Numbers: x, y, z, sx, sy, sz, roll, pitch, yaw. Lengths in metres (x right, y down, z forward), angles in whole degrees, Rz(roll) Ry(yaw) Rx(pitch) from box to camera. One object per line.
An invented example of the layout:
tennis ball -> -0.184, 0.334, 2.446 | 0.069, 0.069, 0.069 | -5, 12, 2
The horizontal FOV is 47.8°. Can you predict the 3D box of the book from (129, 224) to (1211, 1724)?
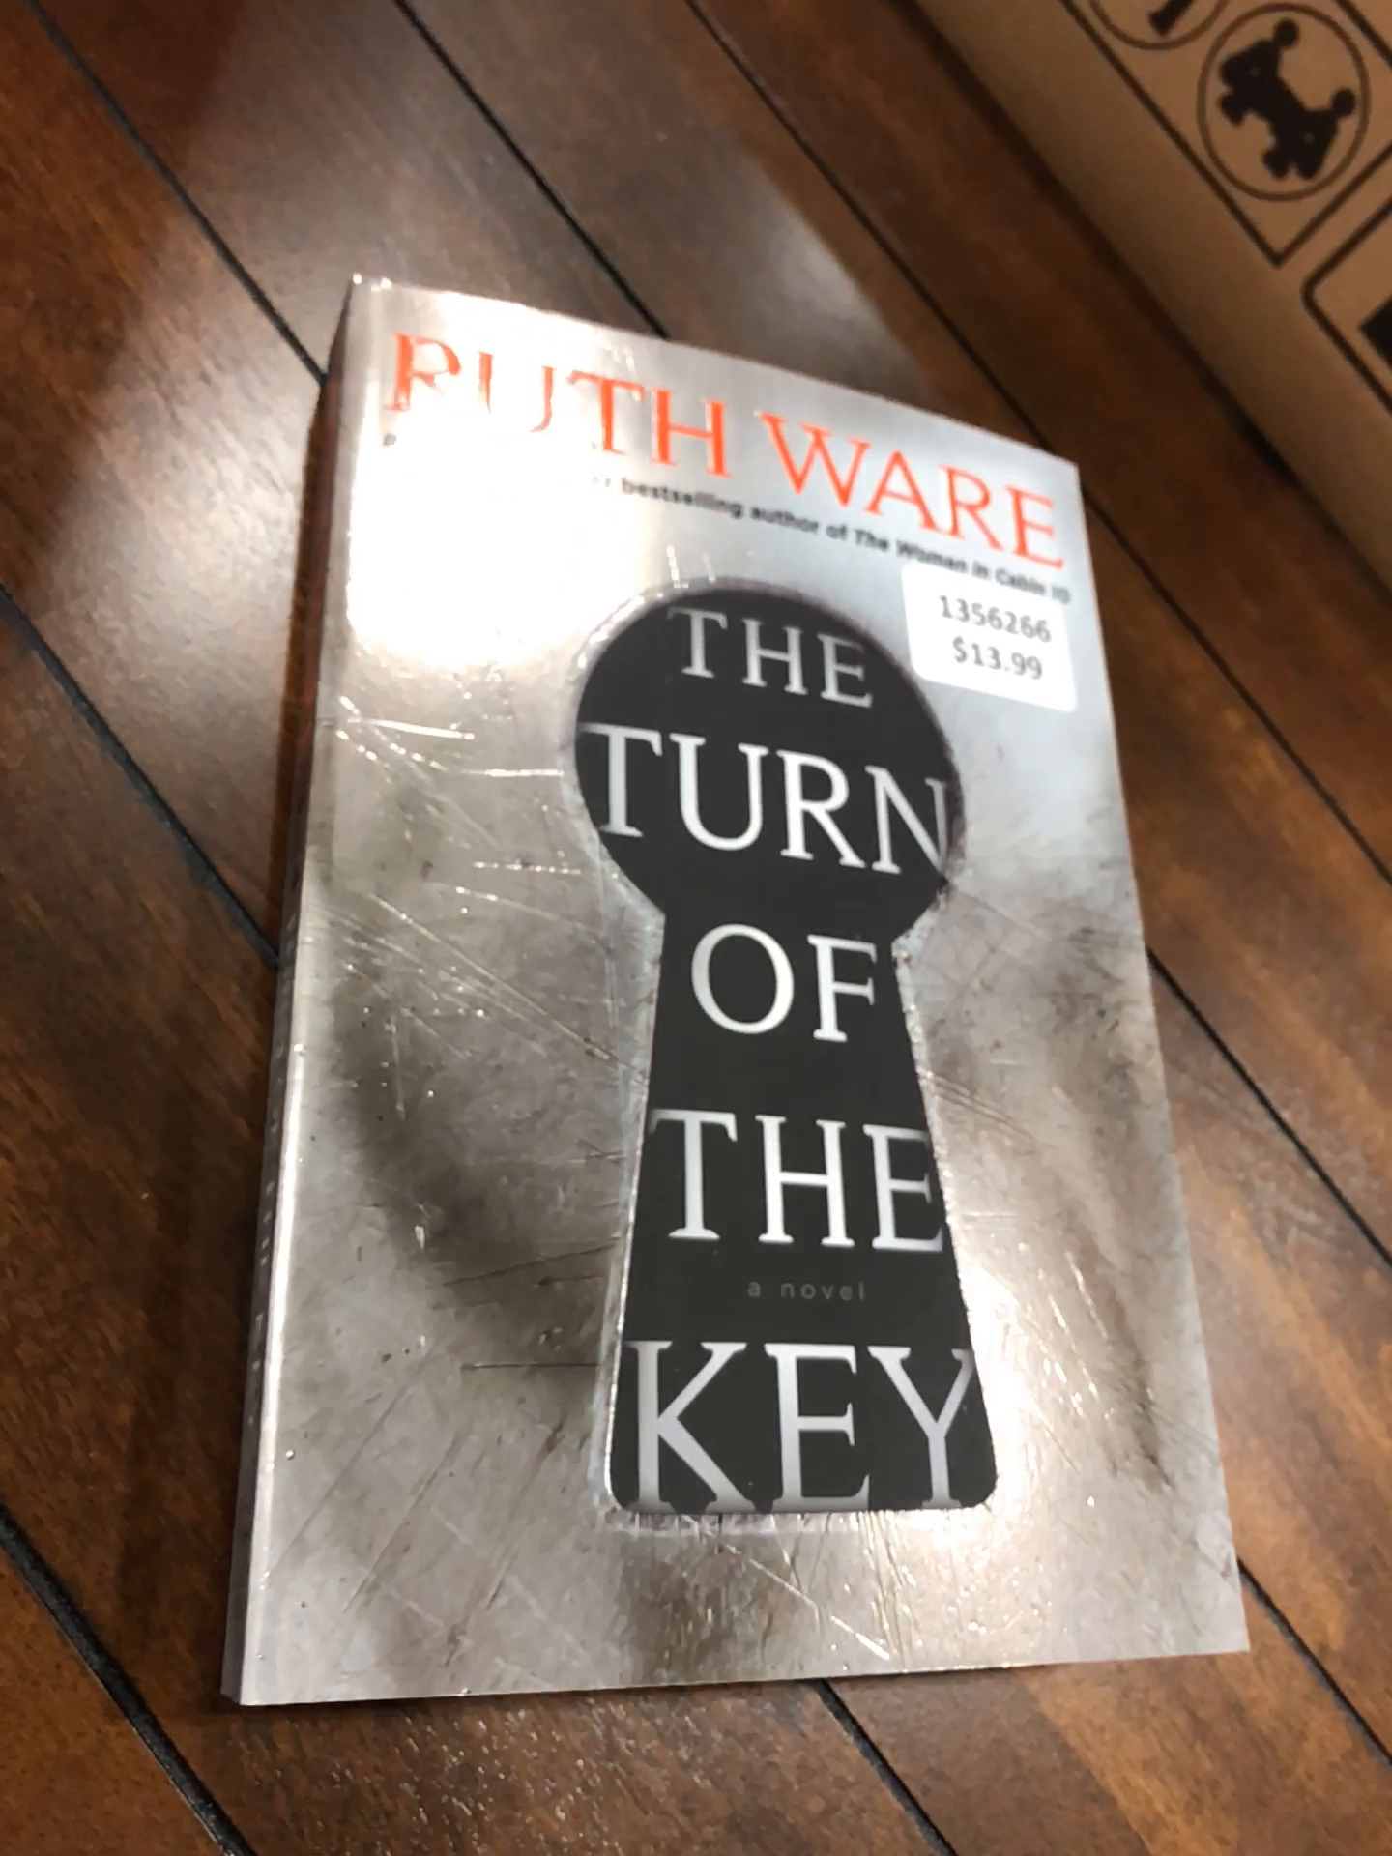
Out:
book -> 0.000, 0.001, 0.270 | 0.158, 0.028, 0.233 | 8, 66, -22
